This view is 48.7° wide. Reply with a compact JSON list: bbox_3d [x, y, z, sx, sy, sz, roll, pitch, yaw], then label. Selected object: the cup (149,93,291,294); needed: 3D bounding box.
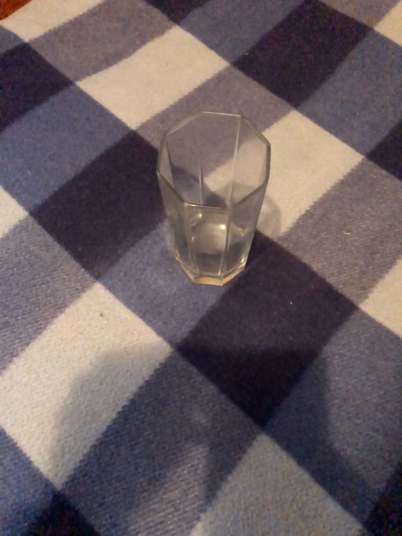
[{"bbox_3d":[0.008,-0.044,0.329,0.077,0.137,0.082,0,68,-1],"label":"cup"}]
